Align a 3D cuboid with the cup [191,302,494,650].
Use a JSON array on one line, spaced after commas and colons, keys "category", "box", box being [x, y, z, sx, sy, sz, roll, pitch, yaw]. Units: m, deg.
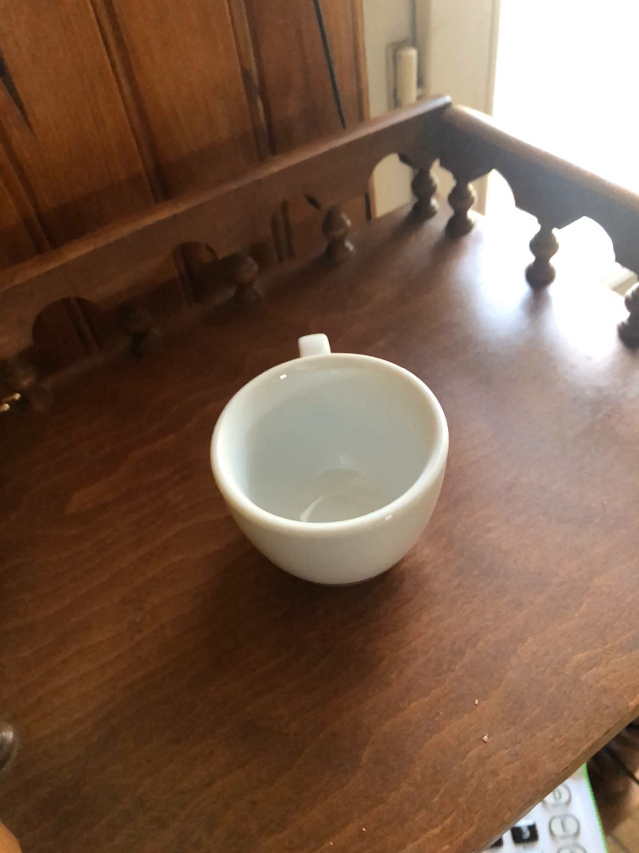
[{"category": "cup", "box": [0.003, 0.014, 0.274, 0.090, 0.050, 0.111, -11, 47, -2]}]
